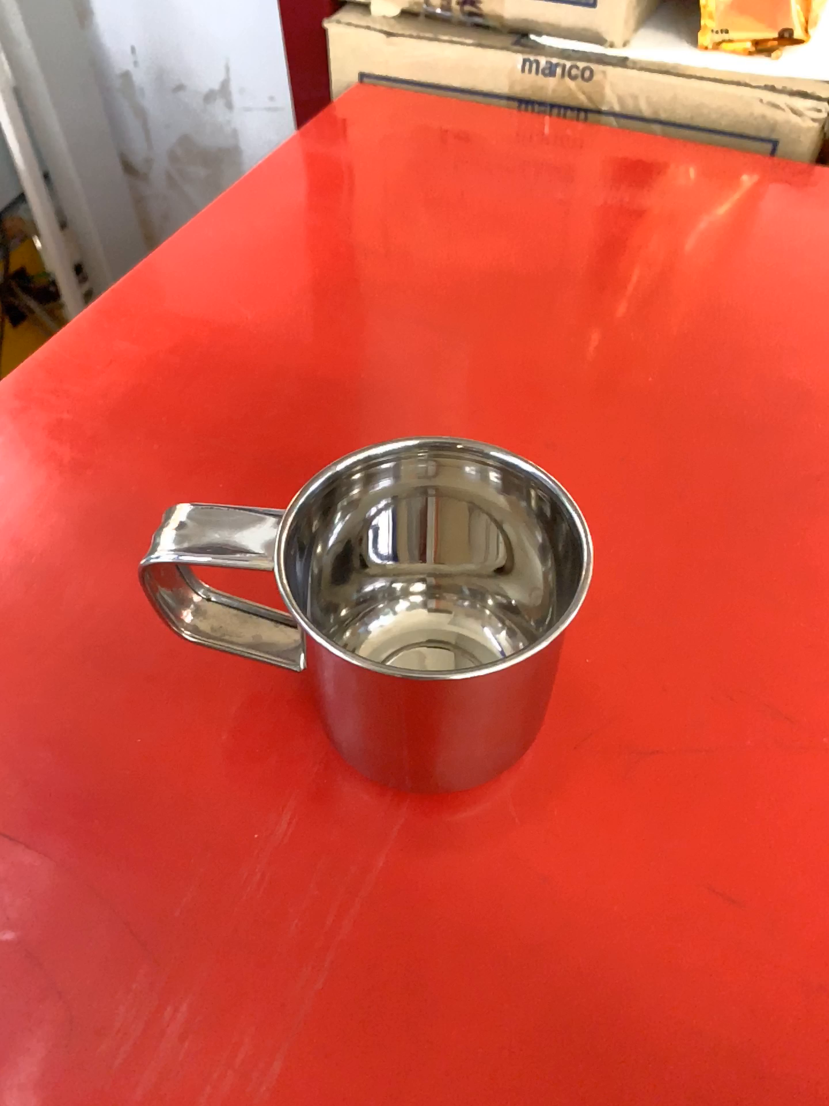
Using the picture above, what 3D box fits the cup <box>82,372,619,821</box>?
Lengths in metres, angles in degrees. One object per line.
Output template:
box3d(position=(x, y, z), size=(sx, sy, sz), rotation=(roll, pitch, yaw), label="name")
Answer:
box3d(position=(-0.009, 0.009, 0.226), size=(0.109, 0.065, 0.080), rotation=(8, 50, 8), label="cup")
